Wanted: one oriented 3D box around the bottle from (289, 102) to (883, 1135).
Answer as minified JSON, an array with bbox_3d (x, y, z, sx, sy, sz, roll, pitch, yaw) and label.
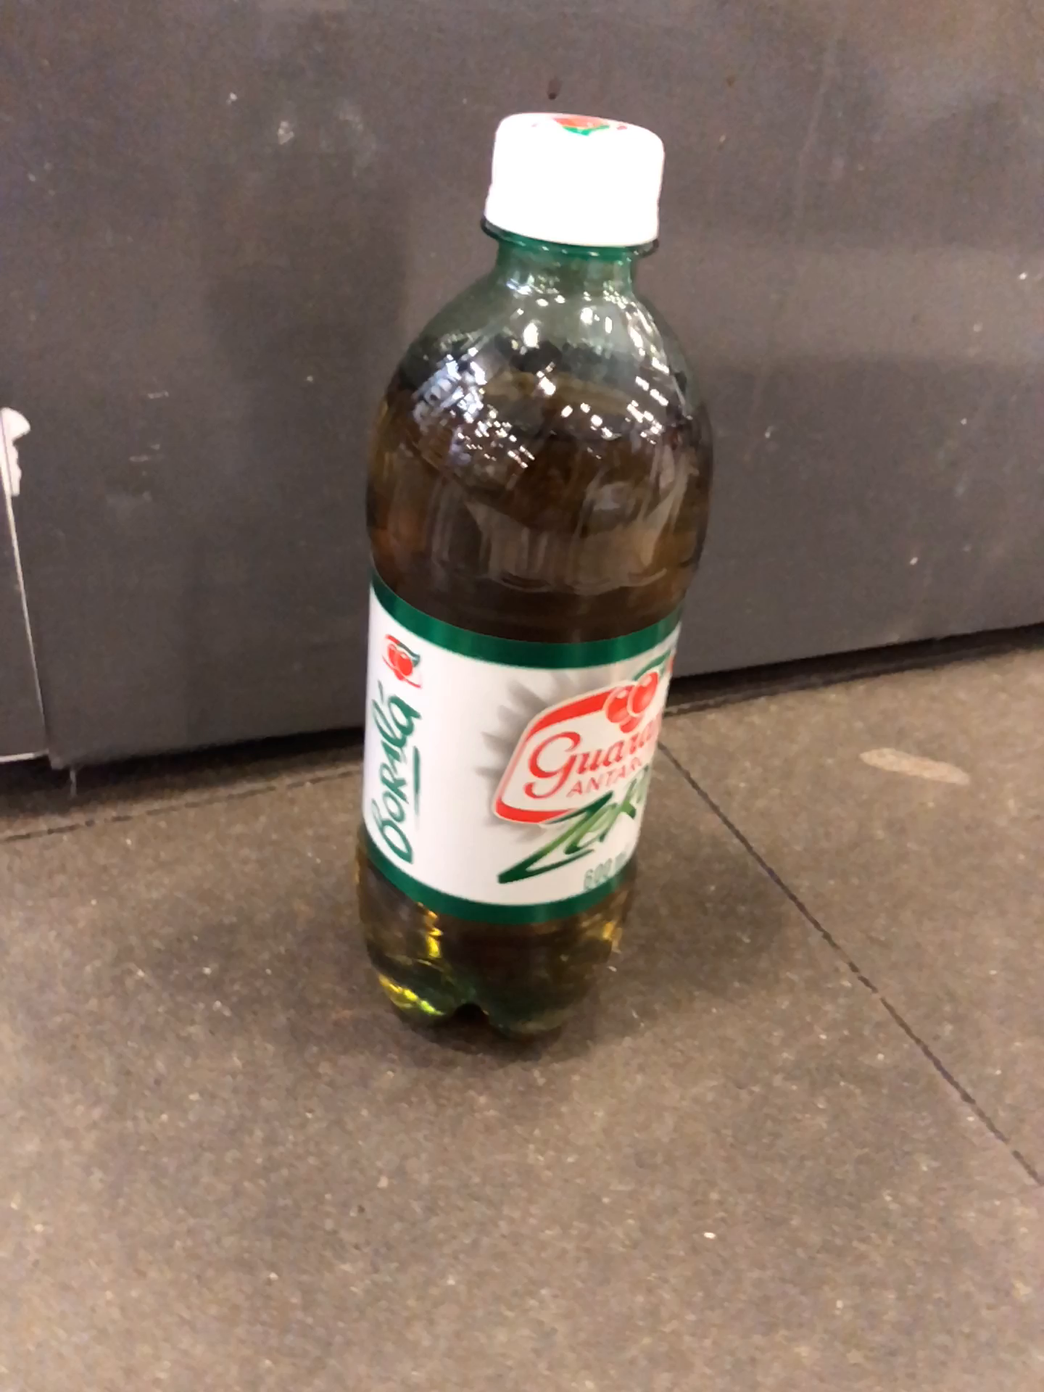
[{"bbox_3d":[0.000,-0.012,0.262,0.080,0.208,0.070,-17,40,-33],"label":"bottle"}]
